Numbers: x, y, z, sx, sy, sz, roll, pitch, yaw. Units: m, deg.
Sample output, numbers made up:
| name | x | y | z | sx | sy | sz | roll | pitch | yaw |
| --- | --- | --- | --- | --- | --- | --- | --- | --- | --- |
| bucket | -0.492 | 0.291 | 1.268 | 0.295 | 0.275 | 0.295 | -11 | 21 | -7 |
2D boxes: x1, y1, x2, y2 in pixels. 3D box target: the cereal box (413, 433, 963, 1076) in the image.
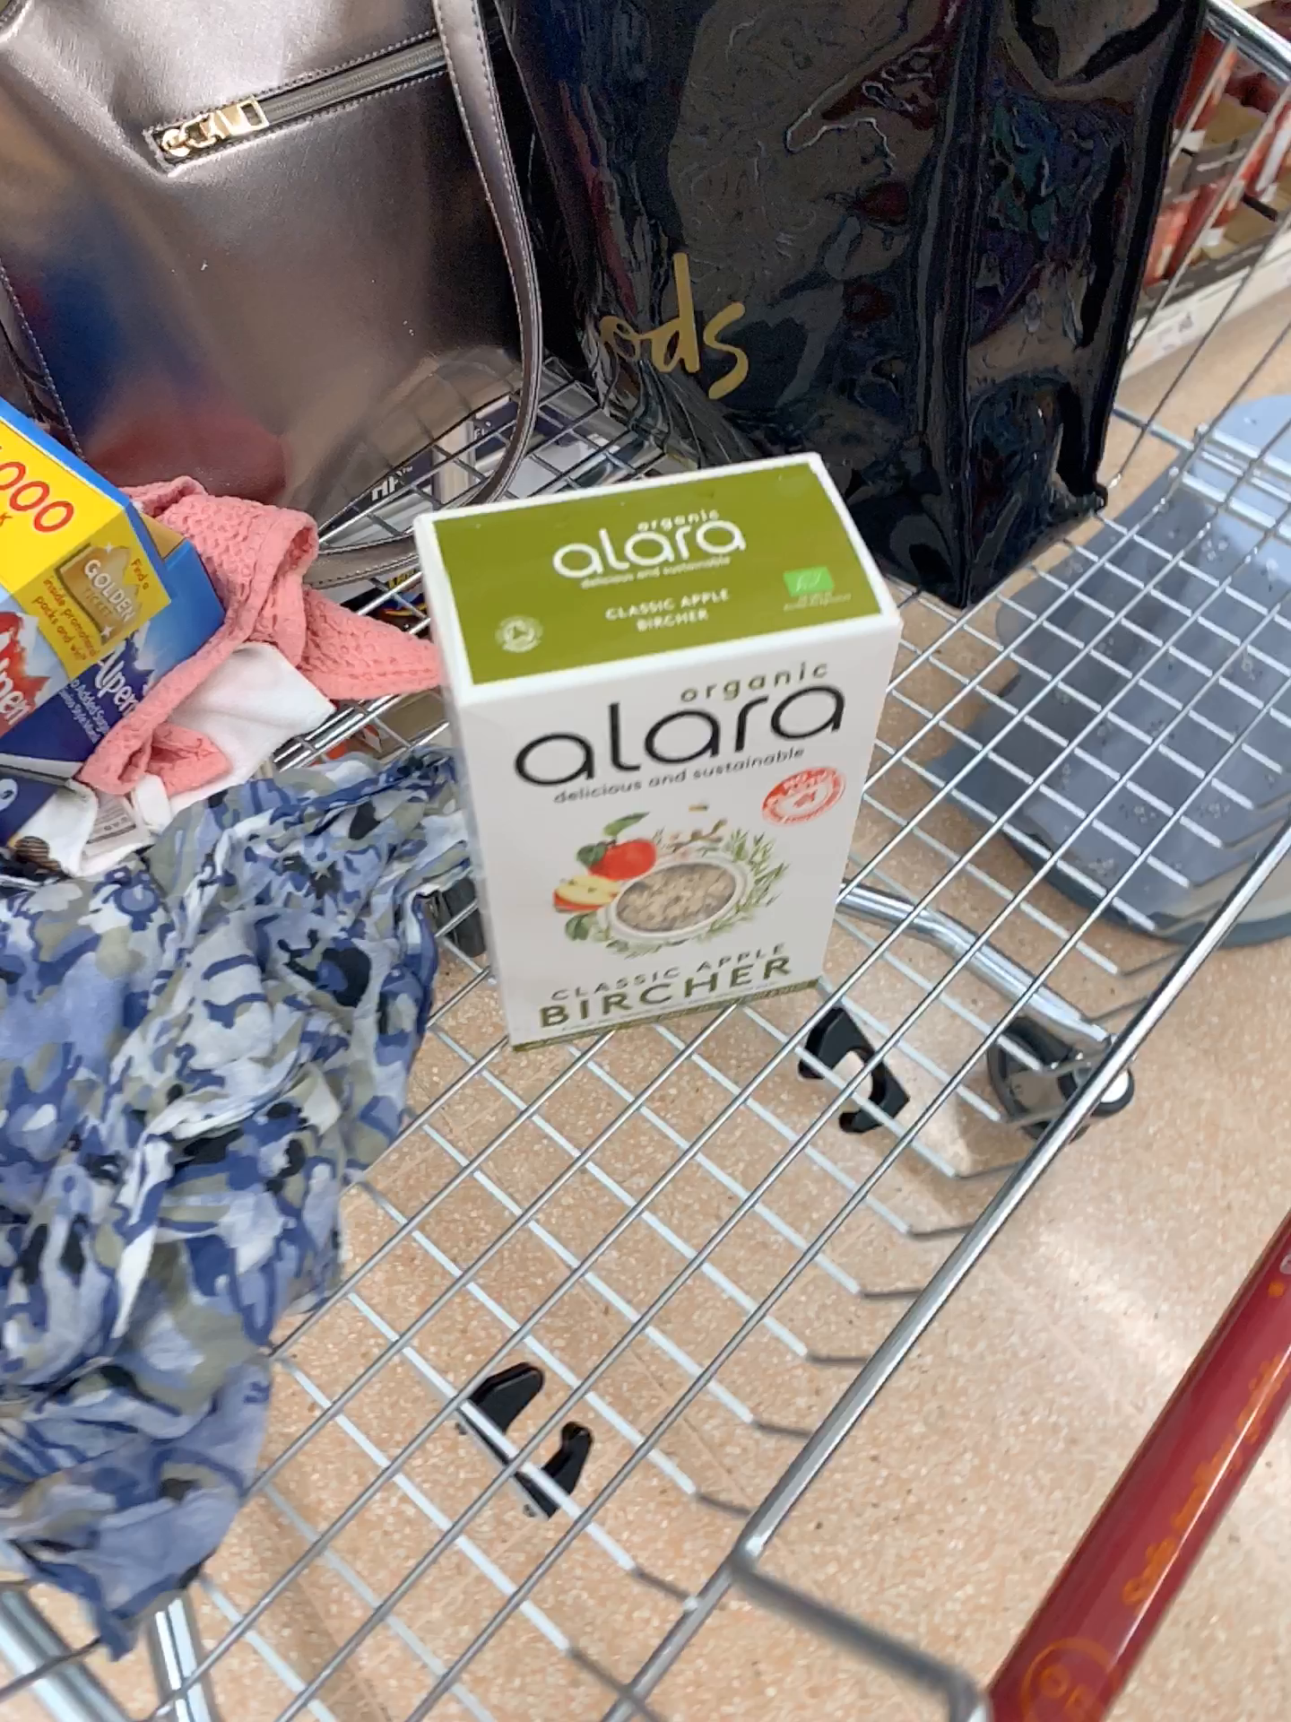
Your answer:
| name | x | y | z | sx | sy | sz | roll | pitch | yaw |
| --- | --- | --- | --- | --- | --- | --- | --- | --- | --- |
| cereal box | 0.005 | -0.023 | 0.400 | 0.120 | 0.179 | 0.081 | -10 | 56 | -10 |
